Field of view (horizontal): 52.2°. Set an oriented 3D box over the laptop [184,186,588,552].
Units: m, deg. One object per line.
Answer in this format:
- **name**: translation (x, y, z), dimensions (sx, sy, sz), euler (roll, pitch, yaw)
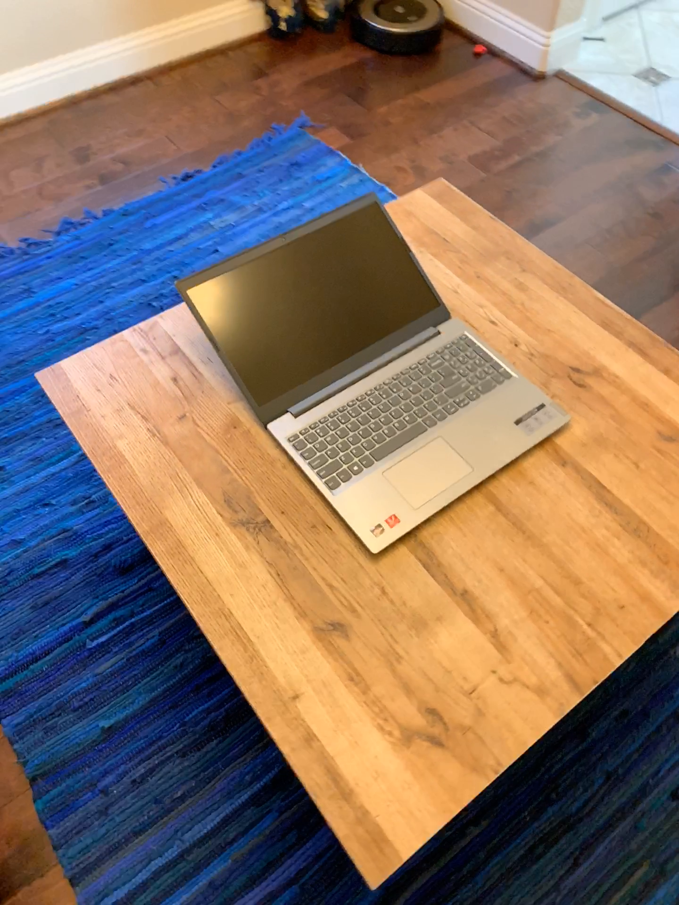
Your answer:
- **laptop**: translation (0.053, -0.149, 0.989), dimensions (0.346, 0.099, 0.461), euler (-31, 64, -19)
